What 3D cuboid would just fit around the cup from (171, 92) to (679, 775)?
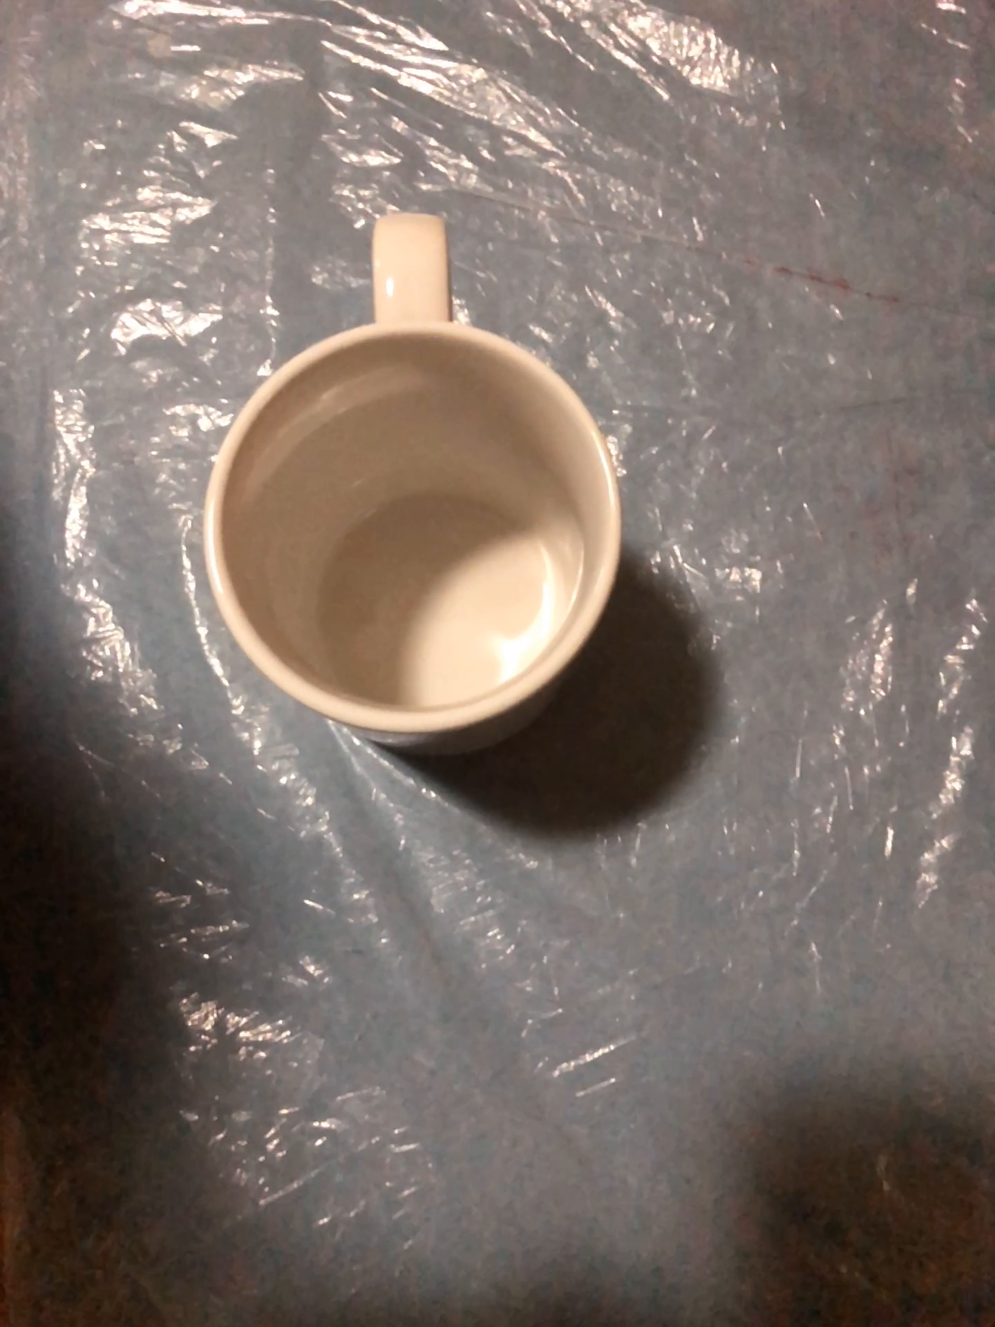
[{"bbox_3d":[-0.018,-0.045,0.281,0.100,0.110,0.140,-1,82,-2],"label":"cup"}]
